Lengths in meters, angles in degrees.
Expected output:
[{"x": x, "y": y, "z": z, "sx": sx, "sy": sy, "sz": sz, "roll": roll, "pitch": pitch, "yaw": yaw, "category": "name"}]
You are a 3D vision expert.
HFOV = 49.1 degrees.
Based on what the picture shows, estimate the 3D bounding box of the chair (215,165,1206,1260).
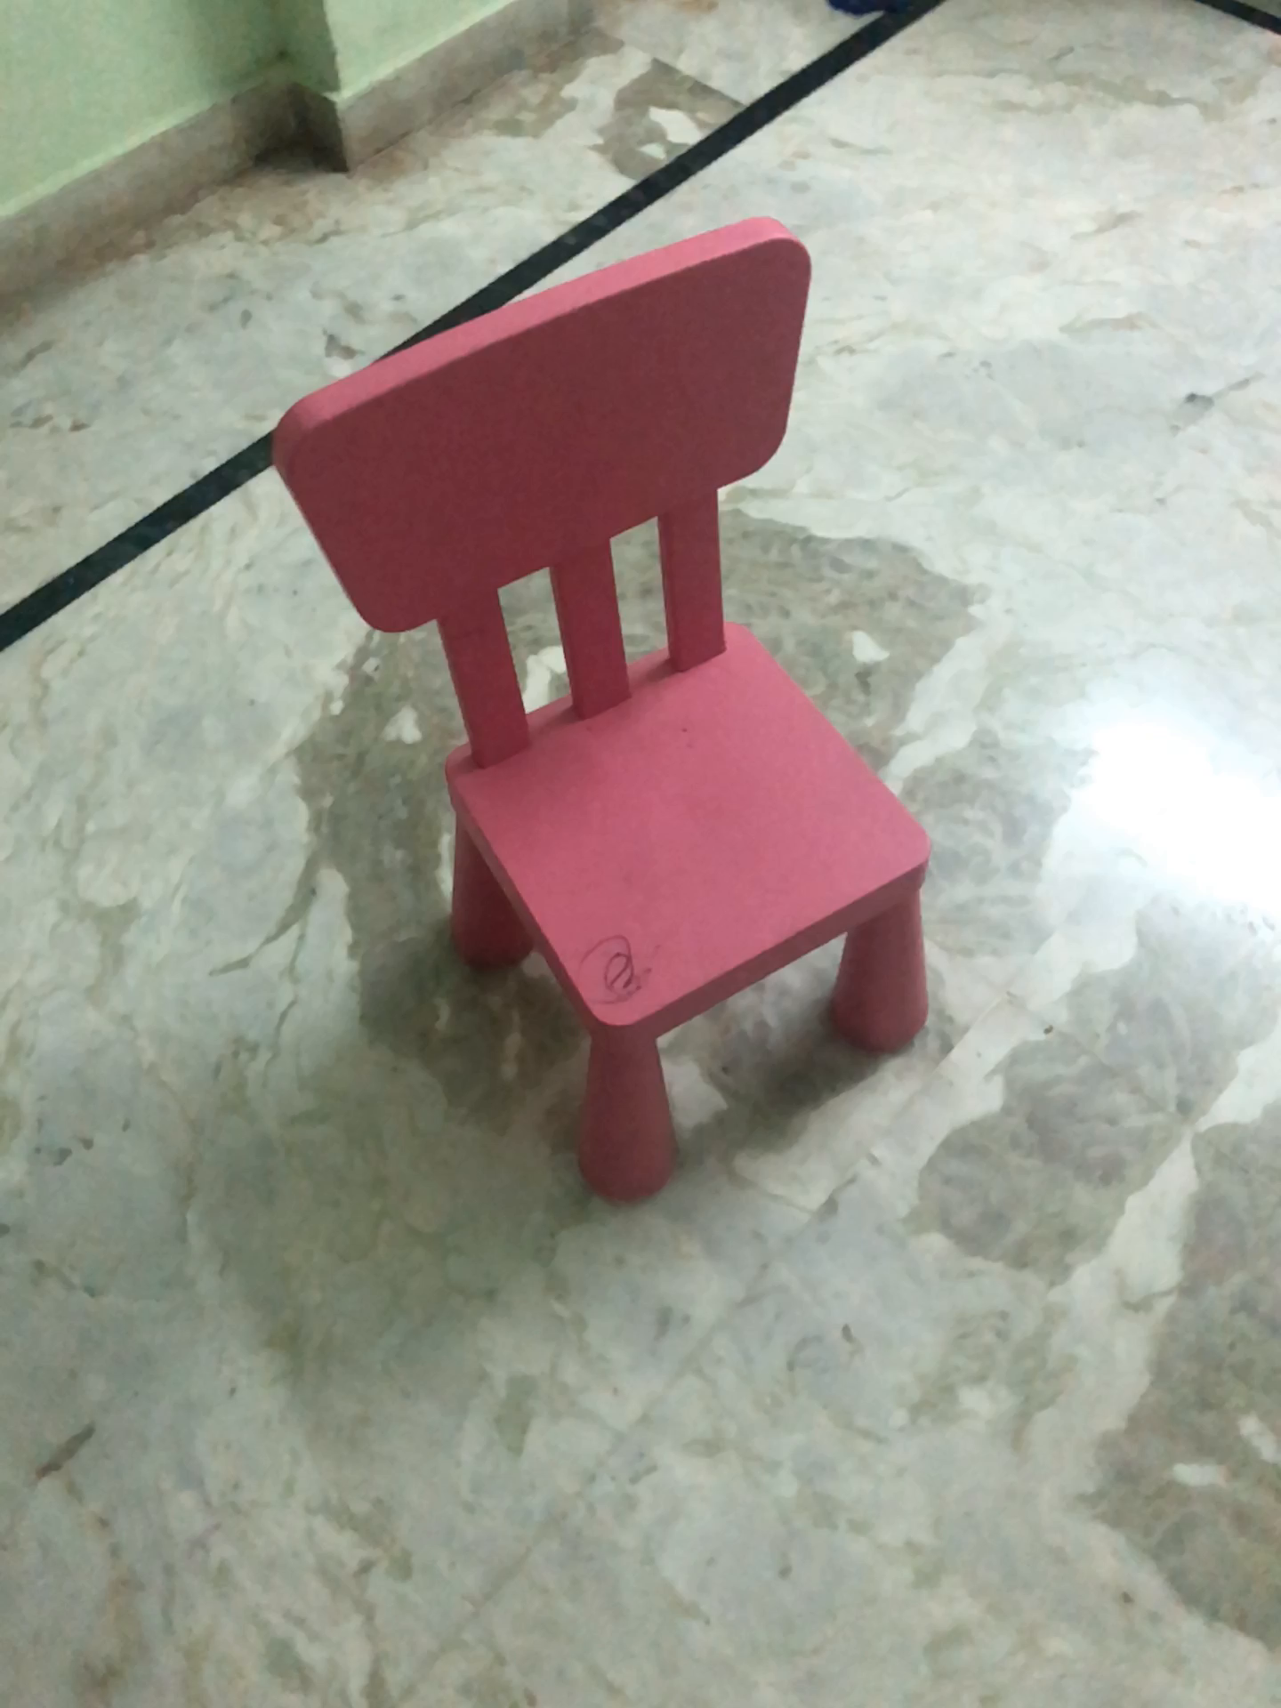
[{"x": 0.032, "y": -0.055, "z": 1.036, "sx": 0.400, "sy": 0.627, "sz": 0.381, "roll": -28, "pitch": 62, "yaw": -15, "category": "chair"}]
